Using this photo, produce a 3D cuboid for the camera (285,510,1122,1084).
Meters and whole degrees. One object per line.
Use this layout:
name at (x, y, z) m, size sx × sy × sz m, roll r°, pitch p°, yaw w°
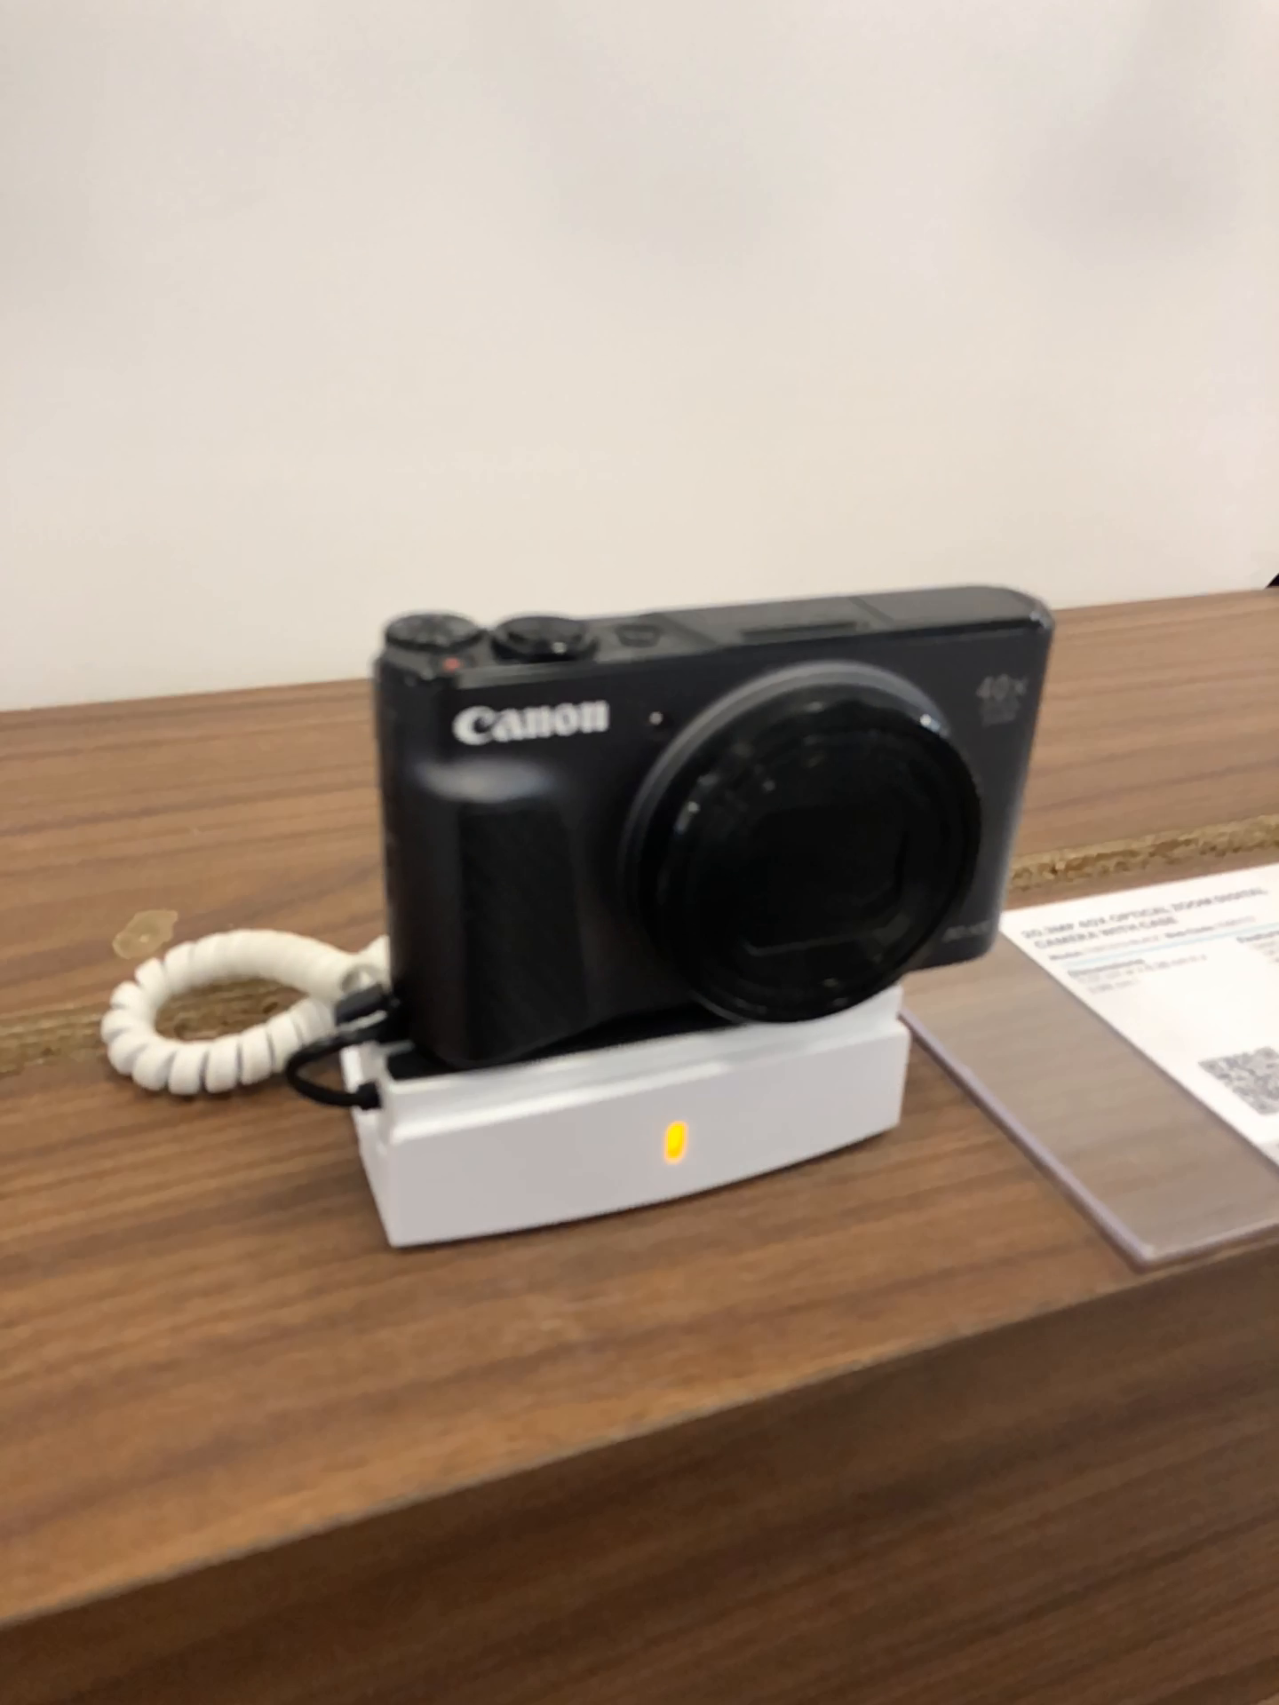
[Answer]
camera at (0.010, -0.012, 0.221) m, size 0.120 × 0.070 × 0.030 m, roll -8°, pitch 27°, yaw -20°
